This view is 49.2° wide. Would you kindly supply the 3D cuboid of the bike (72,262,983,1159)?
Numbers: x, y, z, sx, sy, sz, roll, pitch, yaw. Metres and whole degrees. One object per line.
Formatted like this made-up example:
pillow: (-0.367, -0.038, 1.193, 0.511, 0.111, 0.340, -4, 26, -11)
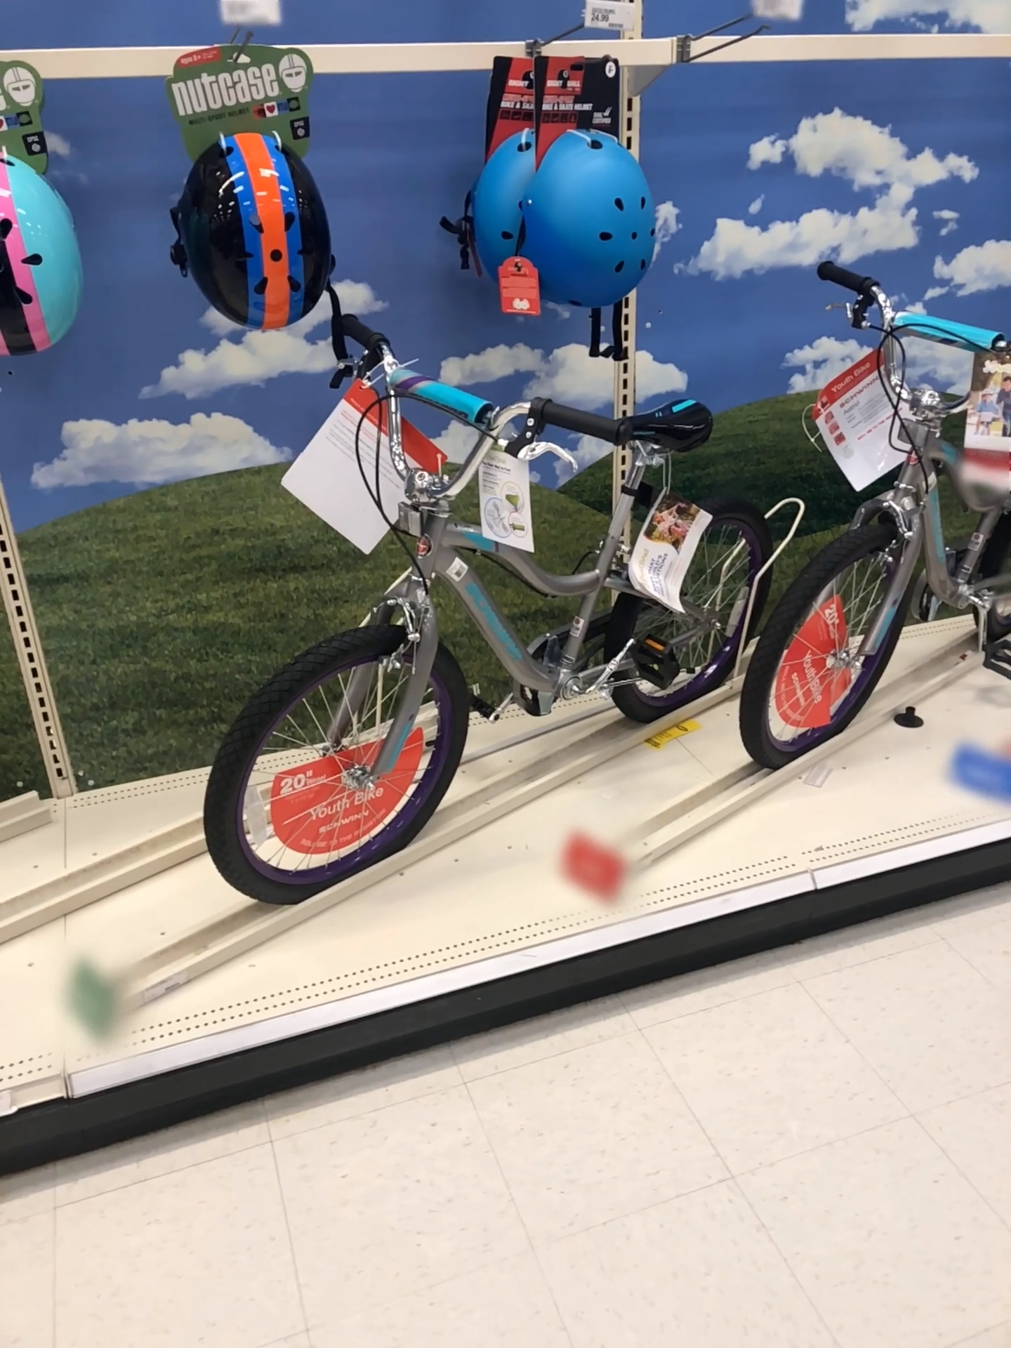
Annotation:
bike: (0.106, -0.095, 1.895, 1.323, 0.878, 0.651, -26, 35, -34)
